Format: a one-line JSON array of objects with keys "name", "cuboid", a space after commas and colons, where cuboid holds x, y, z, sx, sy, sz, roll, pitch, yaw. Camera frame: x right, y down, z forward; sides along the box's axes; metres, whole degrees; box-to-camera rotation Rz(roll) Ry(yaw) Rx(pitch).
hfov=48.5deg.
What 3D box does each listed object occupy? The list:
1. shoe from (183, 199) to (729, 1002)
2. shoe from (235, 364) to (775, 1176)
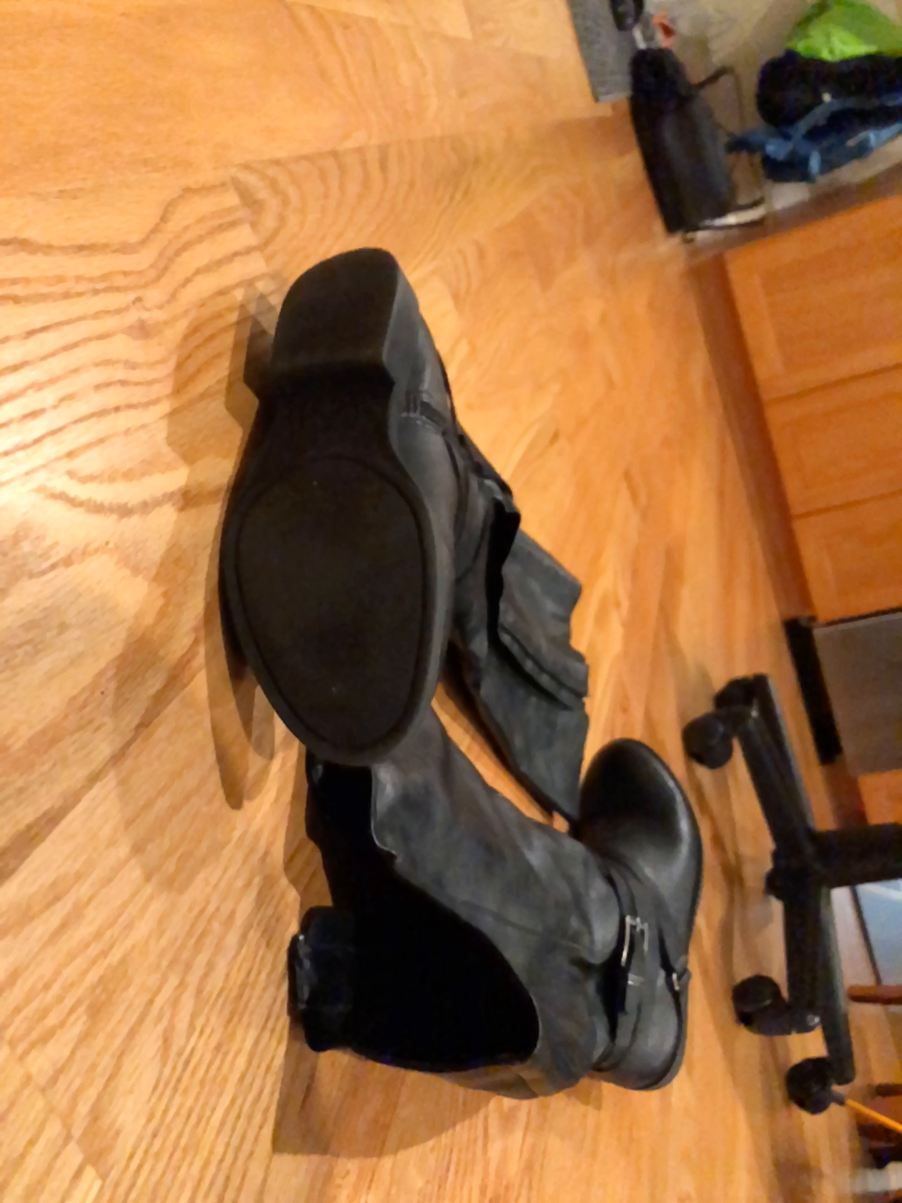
[{"name": "shoe", "cuboid": [0.040, 0.037, 0.536, 0.394, 0.094, 0.251, 50, 33, -48]}, {"name": "shoe", "cuboid": [0.063, 0.128, 0.537, 0.404, 0.104, 0.291, 50, 33, -50]}]
